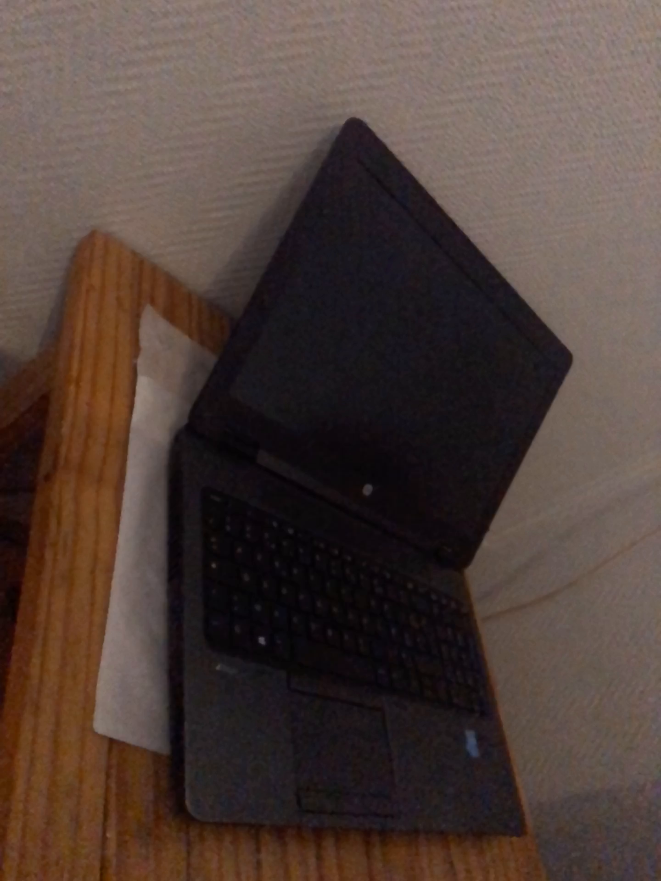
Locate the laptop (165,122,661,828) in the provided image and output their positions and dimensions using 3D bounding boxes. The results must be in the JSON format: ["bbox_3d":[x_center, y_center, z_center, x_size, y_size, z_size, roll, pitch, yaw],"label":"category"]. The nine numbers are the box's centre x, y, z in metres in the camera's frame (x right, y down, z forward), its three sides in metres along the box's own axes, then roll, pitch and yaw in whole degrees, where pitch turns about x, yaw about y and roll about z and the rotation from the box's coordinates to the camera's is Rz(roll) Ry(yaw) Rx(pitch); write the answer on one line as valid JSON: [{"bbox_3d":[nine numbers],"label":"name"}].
[{"bbox_3d":[0.086,0.054,0.582,0.384,0.195,0.410,31,38,-43],"label":"laptop"}]
